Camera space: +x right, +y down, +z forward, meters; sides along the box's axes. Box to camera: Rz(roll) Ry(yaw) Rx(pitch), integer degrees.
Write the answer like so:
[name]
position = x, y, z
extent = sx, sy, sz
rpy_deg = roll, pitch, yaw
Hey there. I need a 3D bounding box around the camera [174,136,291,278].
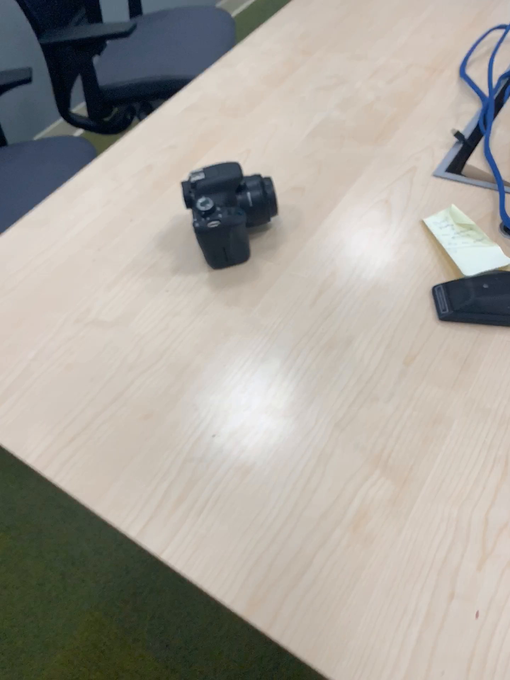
[camera]
position = -0.031, -0.181, 0.718
extent = 0.123, 0.100, 0.141
rpy_deg = -13, 51, -1
